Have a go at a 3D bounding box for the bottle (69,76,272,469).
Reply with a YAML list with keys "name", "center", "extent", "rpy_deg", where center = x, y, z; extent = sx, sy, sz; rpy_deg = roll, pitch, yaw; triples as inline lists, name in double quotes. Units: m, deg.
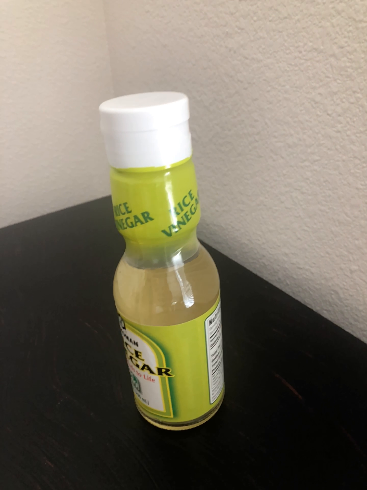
- name: "bottle"
  center: [-0.004, 0.019, 0.230]
  extent: [0.070, 0.199, 0.070]
  rpy_deg: [-3, 28, 2]
